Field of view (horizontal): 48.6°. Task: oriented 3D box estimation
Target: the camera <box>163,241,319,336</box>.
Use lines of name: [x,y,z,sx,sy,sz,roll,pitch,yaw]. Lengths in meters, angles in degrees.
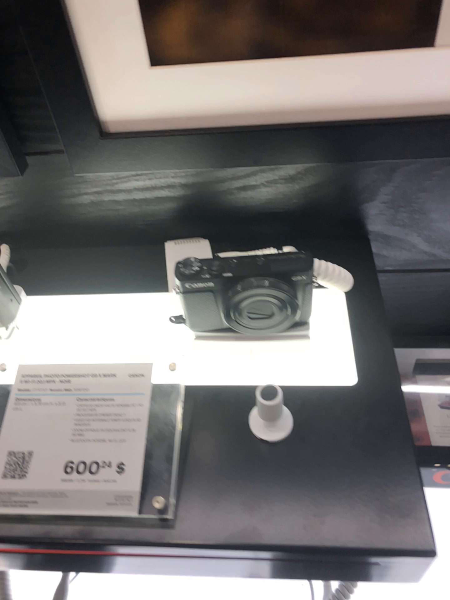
camera: [0.012,-0.007,0.348,0.100,0.058,0.025,-4,45,3]
